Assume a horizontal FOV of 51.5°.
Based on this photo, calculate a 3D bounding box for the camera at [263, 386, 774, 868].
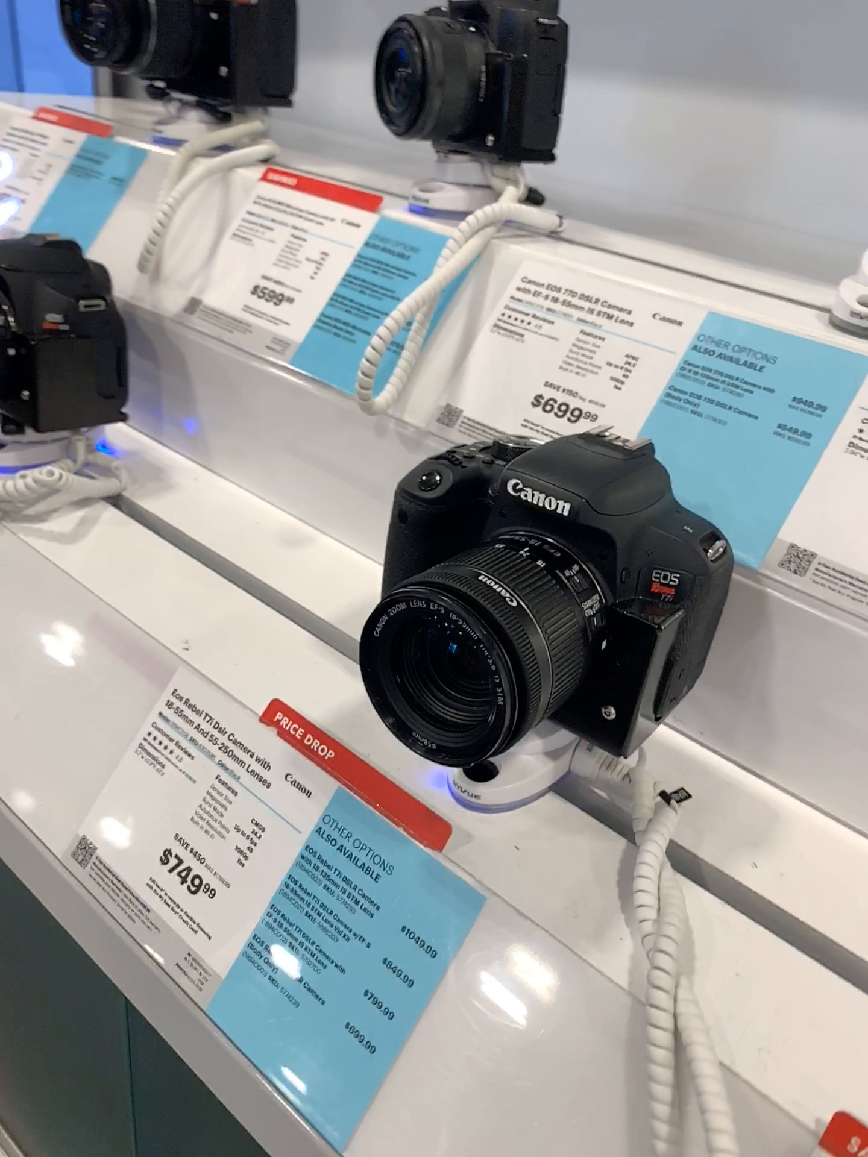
[{"bbox_3d":[0.032,0.003,0.348,0.130,0.099,0.139,25,33,29],"label":"camera"}]
